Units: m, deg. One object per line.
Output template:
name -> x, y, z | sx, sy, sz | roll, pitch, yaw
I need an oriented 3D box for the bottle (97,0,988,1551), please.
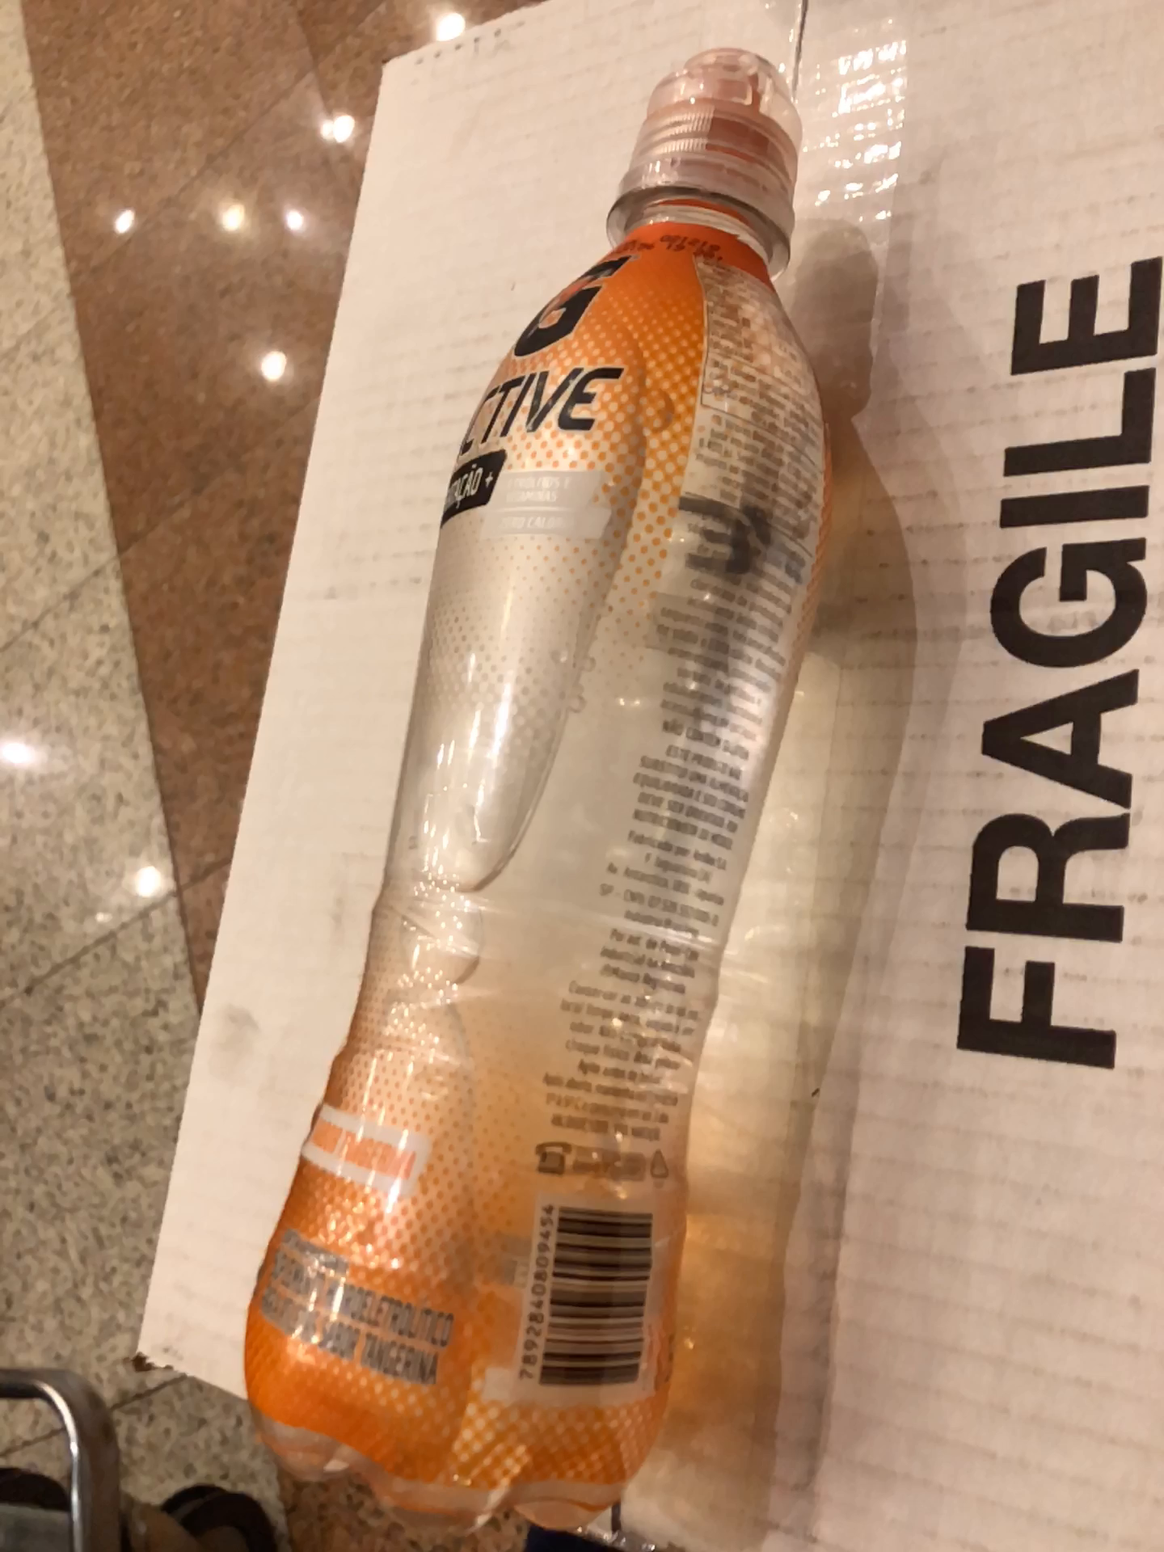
bottle -> 0.002, -0.021, 0.207 | 0.070, 0.060, 0.250 | 6, 80, 34
